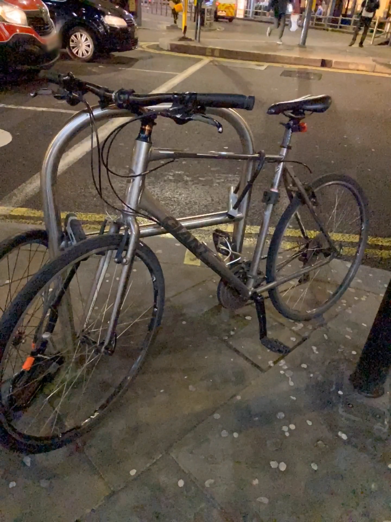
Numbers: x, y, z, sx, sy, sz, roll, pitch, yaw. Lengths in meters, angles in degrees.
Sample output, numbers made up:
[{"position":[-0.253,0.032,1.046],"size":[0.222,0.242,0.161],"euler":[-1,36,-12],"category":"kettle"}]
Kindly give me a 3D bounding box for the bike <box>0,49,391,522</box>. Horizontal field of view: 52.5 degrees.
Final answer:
[{"position":[0.073,-0.131,1.530],"size":[1.824,1.124,0.710],"euler":[-21,40,-35],"category":"bike"}]
